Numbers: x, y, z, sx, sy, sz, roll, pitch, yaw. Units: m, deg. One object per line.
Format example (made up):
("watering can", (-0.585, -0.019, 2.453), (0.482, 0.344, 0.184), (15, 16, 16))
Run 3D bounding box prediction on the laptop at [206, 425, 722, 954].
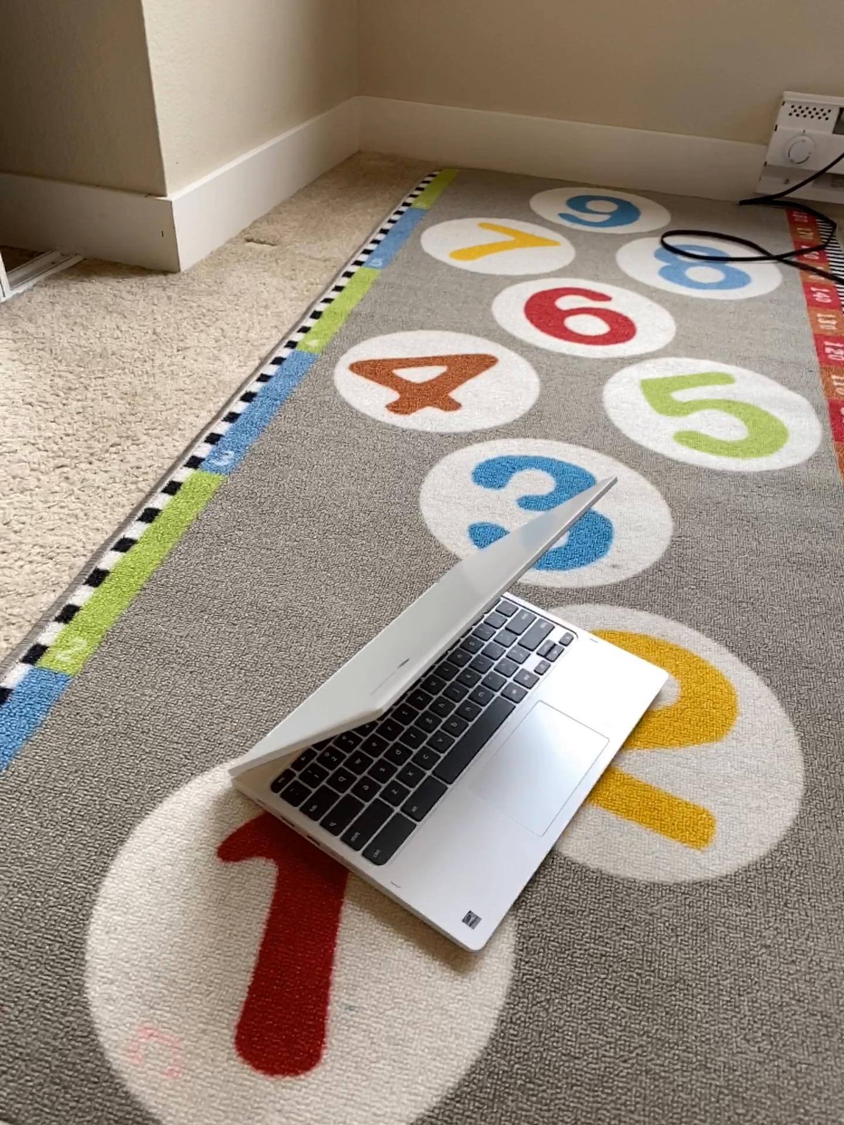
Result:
("laptop", (0.039, 0.063, 0.625), (0.217, 0.162, 0.299), (26, 44, 26))
